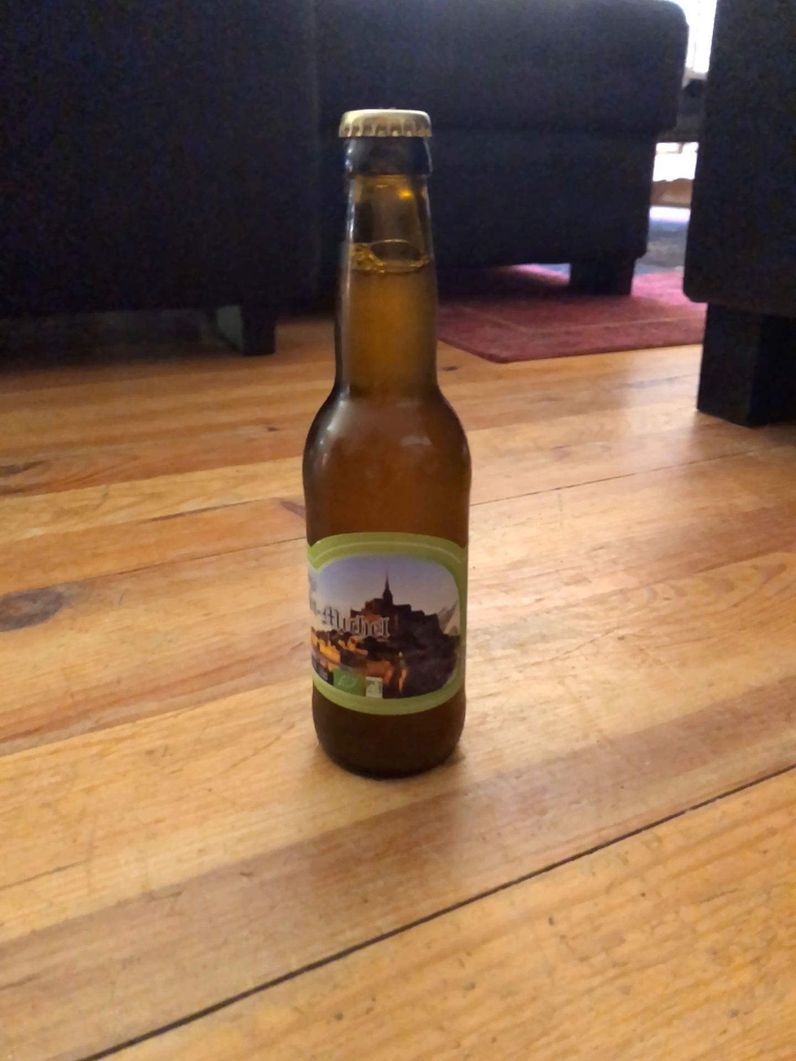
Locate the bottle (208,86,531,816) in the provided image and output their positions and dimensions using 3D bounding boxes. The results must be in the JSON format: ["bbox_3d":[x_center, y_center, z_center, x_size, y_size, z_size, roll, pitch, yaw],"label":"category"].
[{"bbox_3d":[-0.007,-0.025,0.307,0.070,0.229,0.070,0,23,0],"label":"bottle"}]
